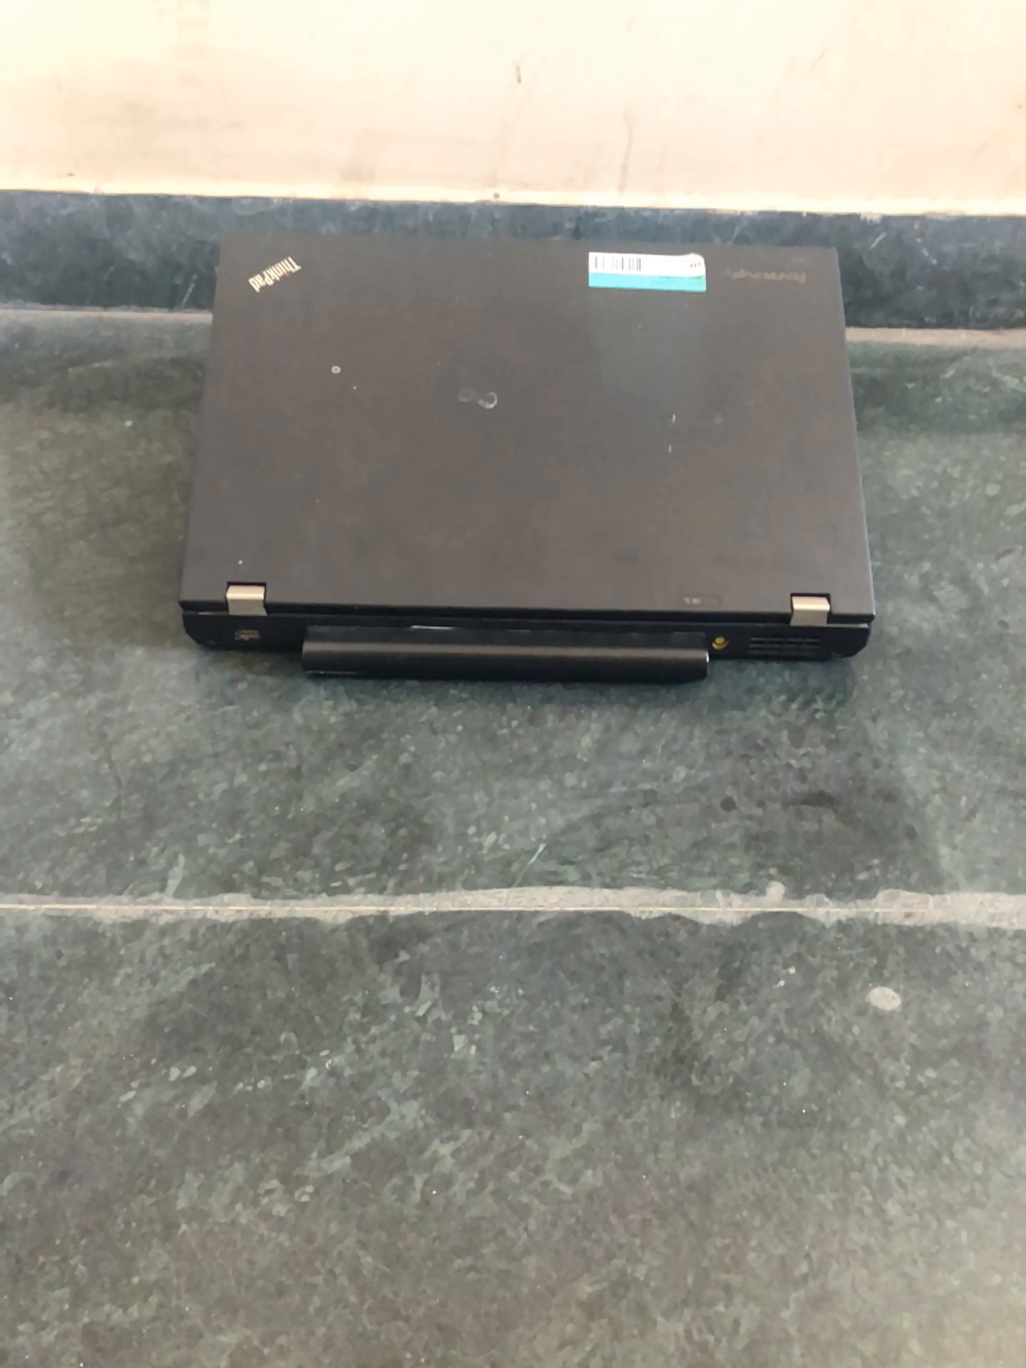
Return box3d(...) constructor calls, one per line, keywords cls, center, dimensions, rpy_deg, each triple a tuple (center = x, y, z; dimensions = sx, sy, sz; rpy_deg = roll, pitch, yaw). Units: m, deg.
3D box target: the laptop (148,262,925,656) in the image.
box3d(cls="laptop", center=(0.012, -0.132, 0.623), dimensions=(0.349, 0.094, 0.228), rpy_deg=(2, 42, -3))
